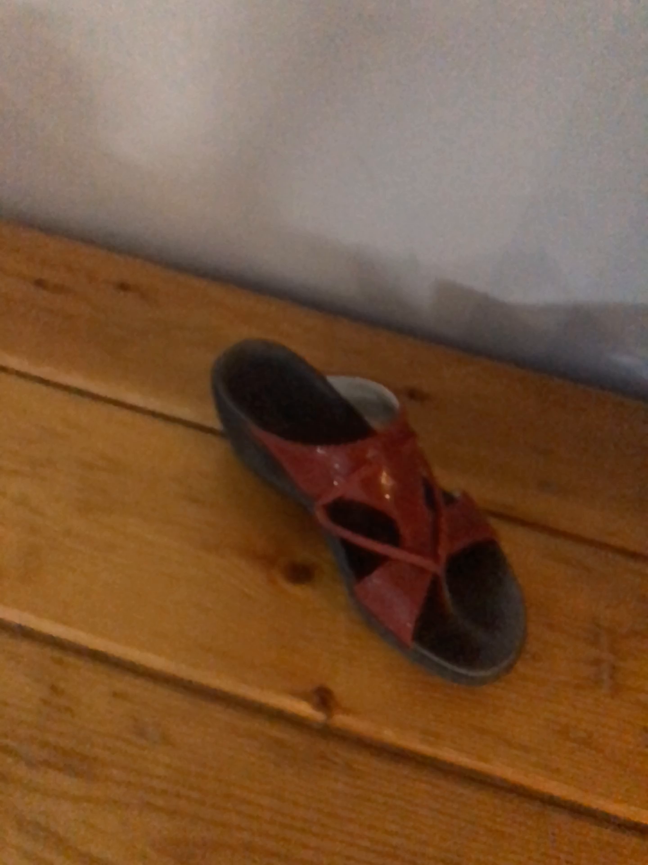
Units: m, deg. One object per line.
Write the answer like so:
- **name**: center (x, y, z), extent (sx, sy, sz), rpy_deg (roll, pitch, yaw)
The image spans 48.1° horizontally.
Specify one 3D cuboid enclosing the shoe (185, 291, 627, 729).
- **shoe**: center (0.034, 0.032, 0.430), extent (0.100, 0.070, 0.250), rpy_deg (-32, 63, -29)
